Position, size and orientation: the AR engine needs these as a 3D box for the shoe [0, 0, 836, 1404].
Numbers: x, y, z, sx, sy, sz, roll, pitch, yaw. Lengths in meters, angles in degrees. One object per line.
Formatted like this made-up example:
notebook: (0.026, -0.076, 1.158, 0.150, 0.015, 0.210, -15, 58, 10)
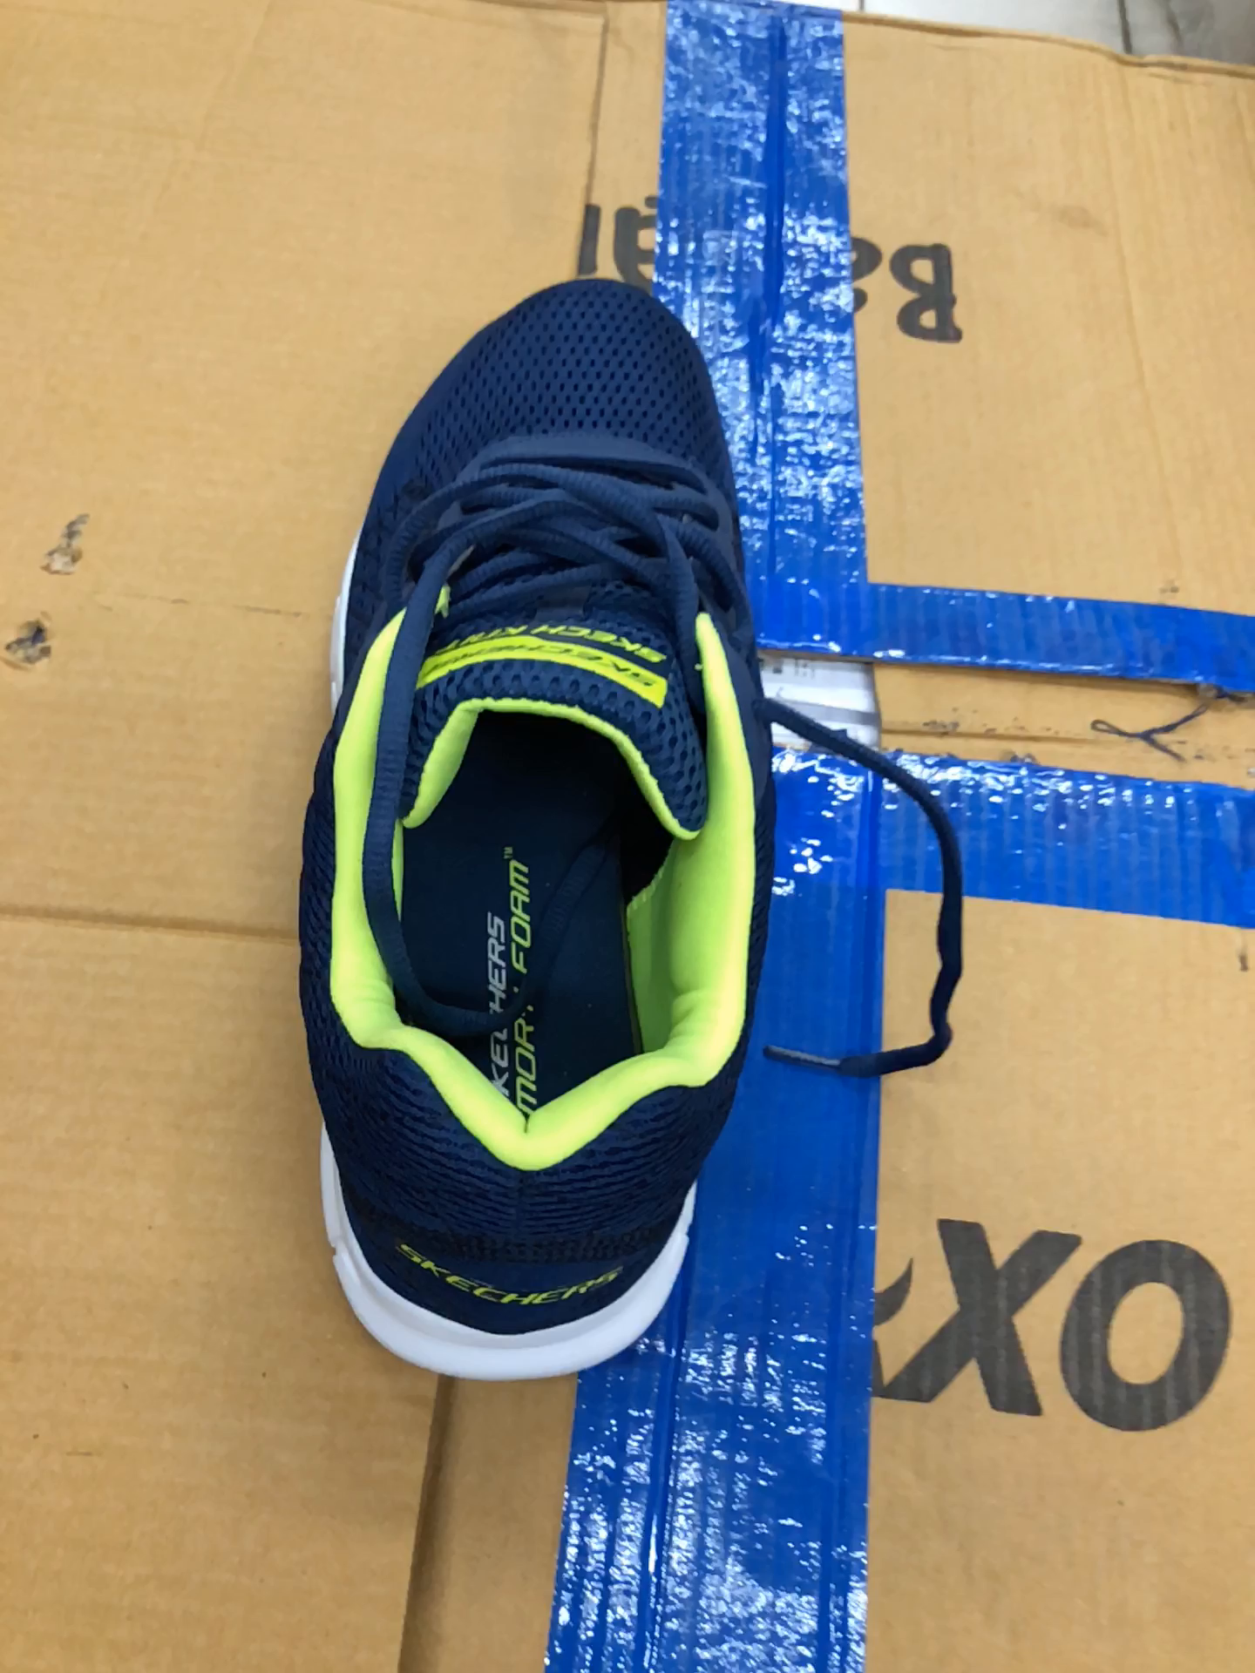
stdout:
shoe: (-0.032, -0.038, 0.303, 0.110, 0.130, 0.291, 2, 64, -4)
